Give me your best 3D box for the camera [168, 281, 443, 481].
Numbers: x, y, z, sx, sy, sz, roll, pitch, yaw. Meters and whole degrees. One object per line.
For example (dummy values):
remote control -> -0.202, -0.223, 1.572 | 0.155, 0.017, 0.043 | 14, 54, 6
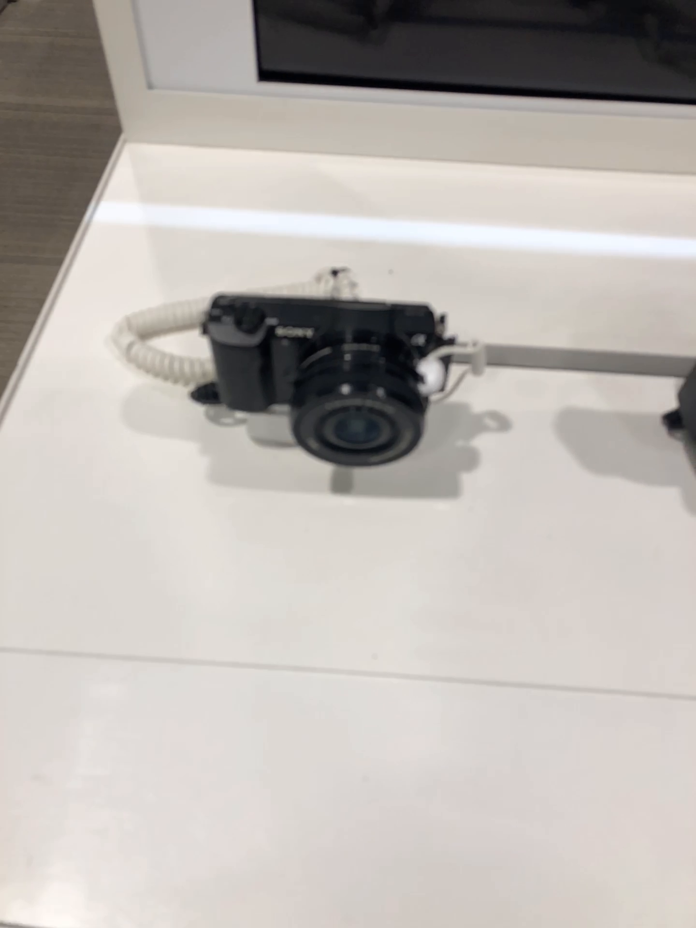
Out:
camera -> -0.016, -0.038, 0.351 | 0.113, 0.060, 0.062 | 3, 54, 2
